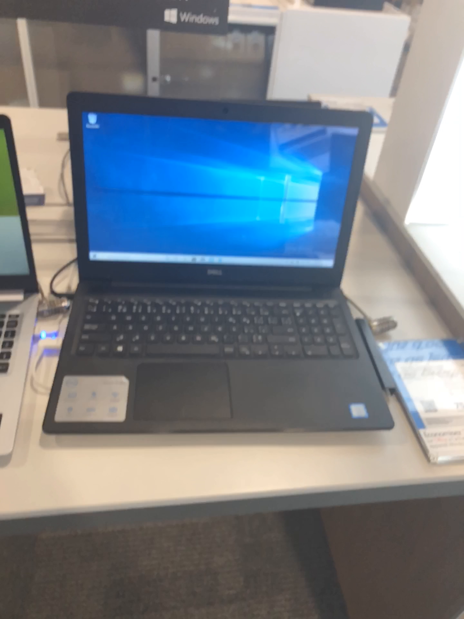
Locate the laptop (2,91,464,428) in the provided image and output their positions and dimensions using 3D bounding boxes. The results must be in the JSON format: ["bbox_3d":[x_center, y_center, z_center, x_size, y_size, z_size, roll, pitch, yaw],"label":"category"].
[{"bbox_3d":[-0.010,-0.064,0.590,0.368,0.230,0.311,1,40,-8],"label":"laptop"}]
